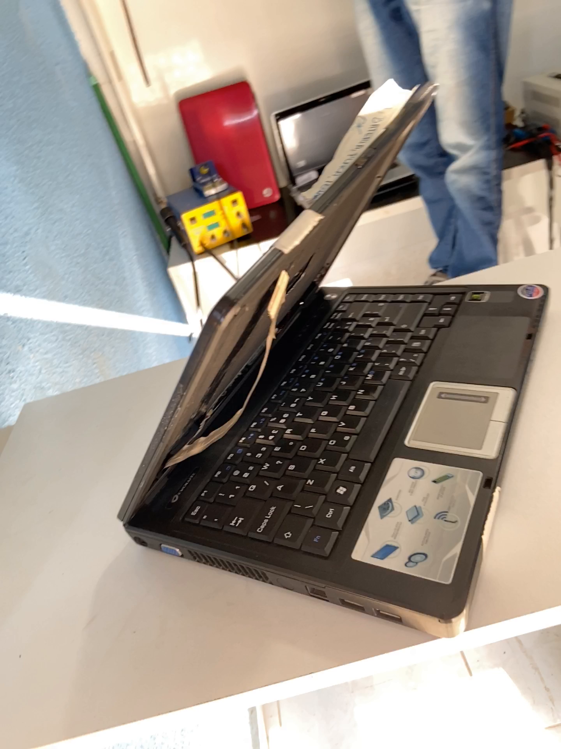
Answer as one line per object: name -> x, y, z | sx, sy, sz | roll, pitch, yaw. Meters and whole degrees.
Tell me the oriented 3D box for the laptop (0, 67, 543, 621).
laptop -> 0.037, -0.056, 0.403 | 0.224, 0.175, 0.330 | 4, 38, 31
